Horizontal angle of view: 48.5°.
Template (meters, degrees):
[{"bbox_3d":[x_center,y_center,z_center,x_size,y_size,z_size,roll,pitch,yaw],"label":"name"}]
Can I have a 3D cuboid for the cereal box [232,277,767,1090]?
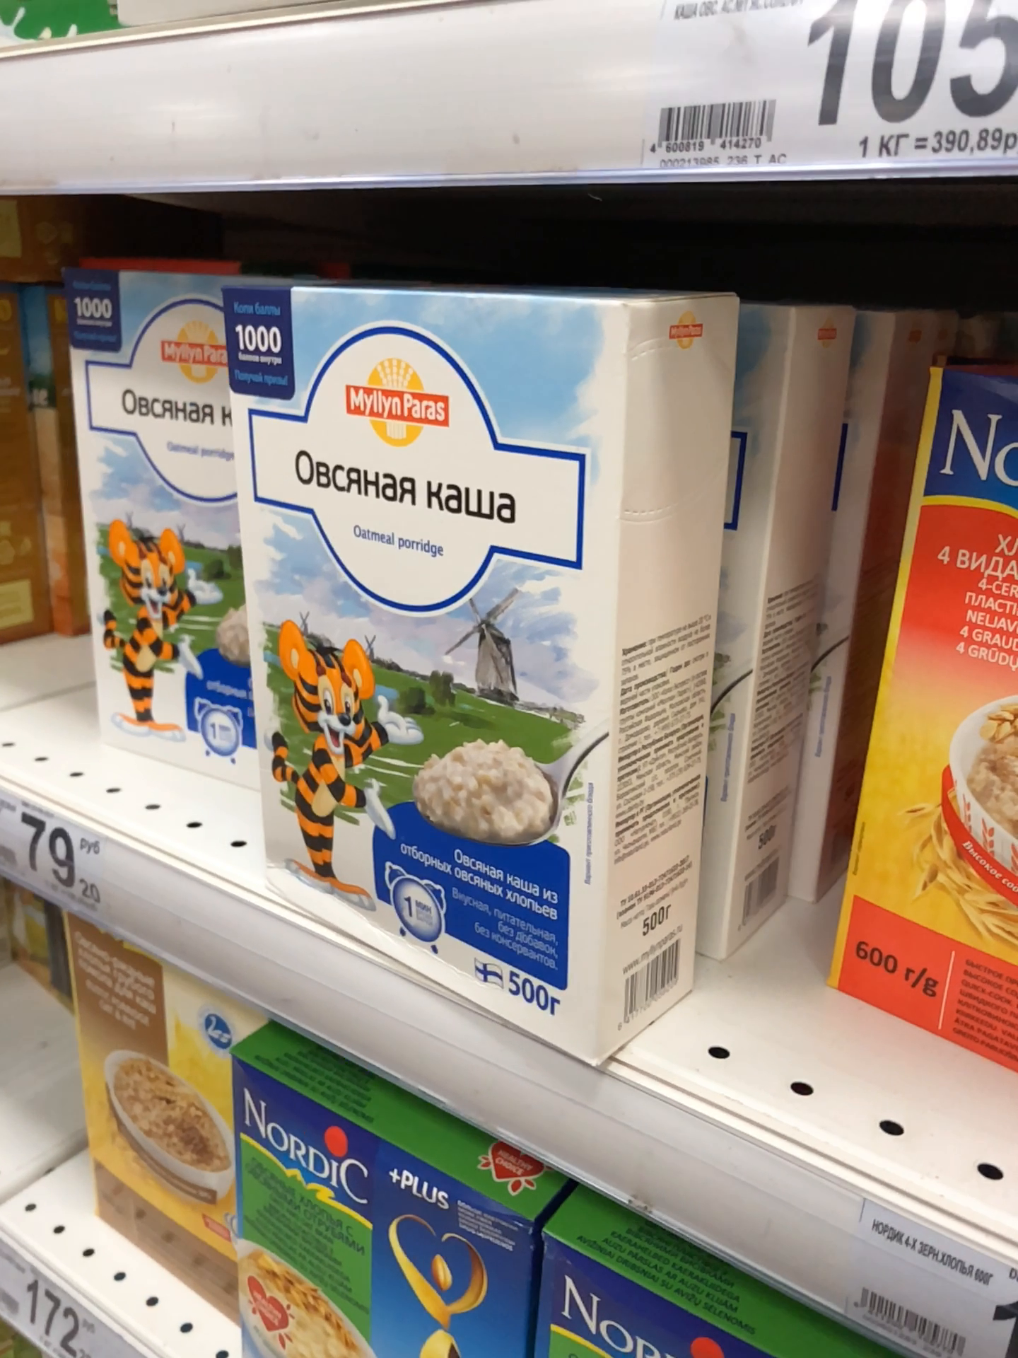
[{"bbox_3d":[-0.012,-0.009,0.343,0.150,0.209,0.050,18,26,38],"label":"cereal box"}]
